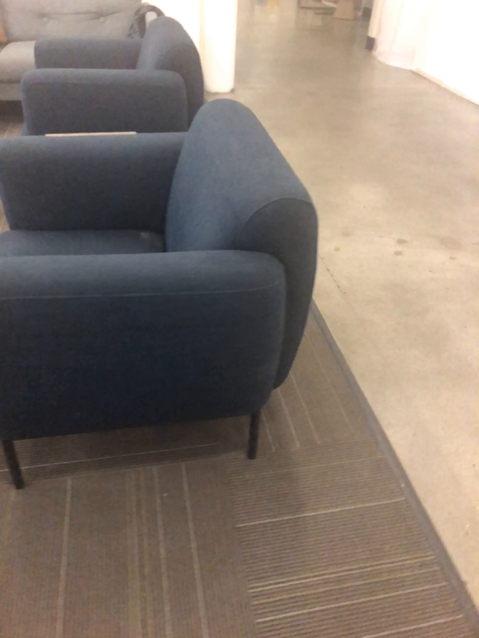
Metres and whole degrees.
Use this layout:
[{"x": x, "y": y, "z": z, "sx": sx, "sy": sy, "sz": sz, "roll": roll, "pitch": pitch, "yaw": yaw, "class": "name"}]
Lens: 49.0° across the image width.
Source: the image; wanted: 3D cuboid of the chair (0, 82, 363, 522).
[{"x": -0.296, "y": -0.133, "z": 1.488, "sx": 0.841, "sy": 0.783, "sz": 0.927, "roll": -5, "pitch": 37, "yaw": -11, "class": "chair"}]
